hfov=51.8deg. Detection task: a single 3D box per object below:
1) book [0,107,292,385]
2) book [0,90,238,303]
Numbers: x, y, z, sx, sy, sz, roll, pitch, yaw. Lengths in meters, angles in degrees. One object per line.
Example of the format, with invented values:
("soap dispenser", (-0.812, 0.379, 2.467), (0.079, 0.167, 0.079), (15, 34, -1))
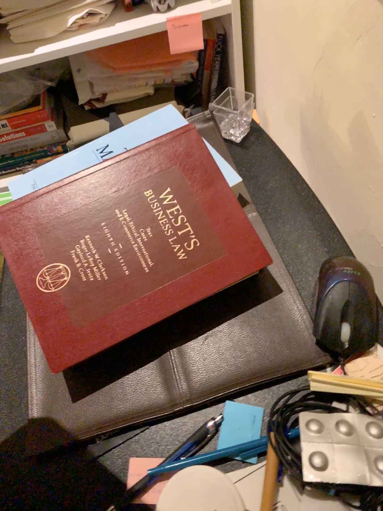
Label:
("book", (-0.061, -0.018, 0.451), (0.270, 0.050, 0.210), (-27, 79, -8))
("book", (-0.110, -0.097, 0.547), (0.270, 0.070, 0.221), (-26, 55, -7))
